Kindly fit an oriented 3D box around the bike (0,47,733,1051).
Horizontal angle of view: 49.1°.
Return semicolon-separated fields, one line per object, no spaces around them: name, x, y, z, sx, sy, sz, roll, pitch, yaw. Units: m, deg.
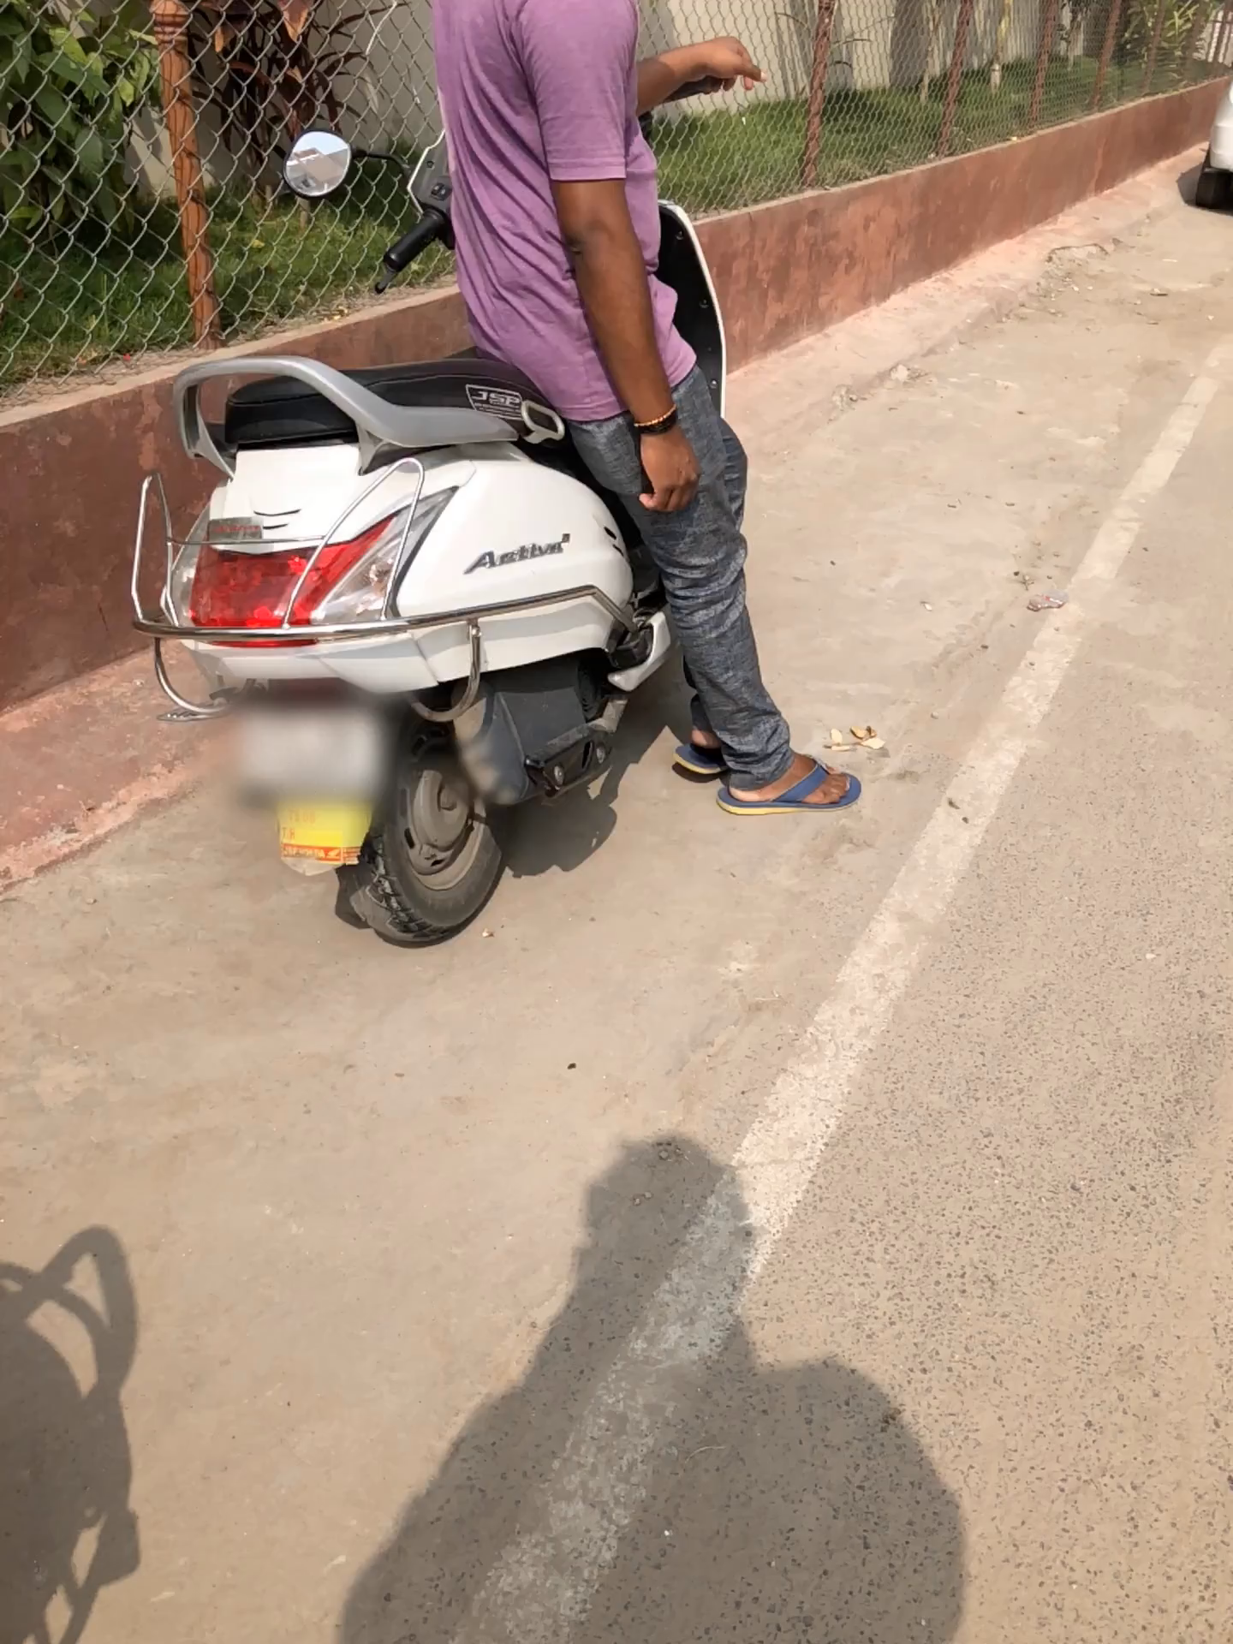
bike;-0.279;-0.617;2.296;0.617;1.113;1.562;10;34;11
